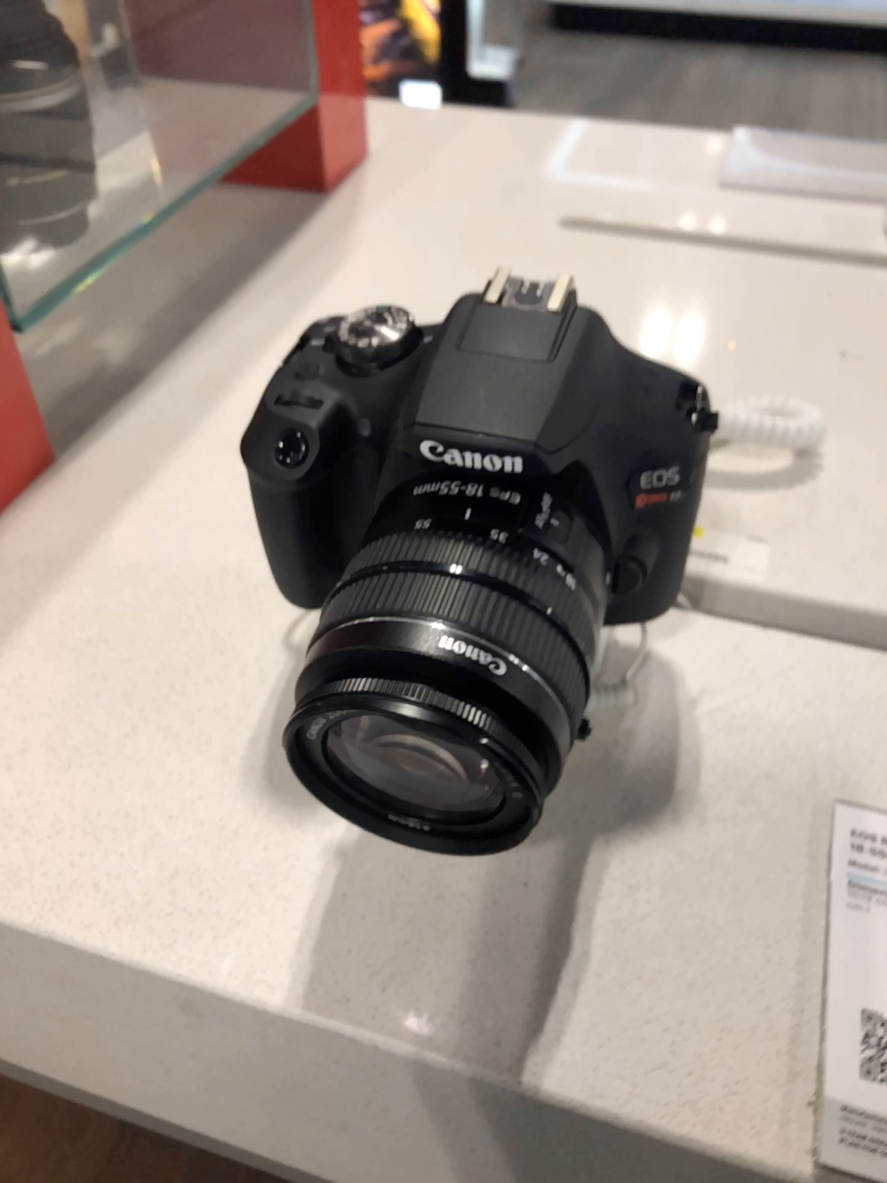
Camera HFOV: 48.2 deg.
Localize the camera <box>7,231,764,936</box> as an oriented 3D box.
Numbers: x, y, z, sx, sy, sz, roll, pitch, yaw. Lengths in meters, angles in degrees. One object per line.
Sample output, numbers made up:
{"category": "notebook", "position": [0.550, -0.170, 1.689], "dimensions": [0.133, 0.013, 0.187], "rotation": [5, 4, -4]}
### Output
{"category": "camera", "position": [0.002, -0.015, 0.265], "dimensions": [0.140, 0.089, 0.151], "rotation": [10, 44, 12]}
